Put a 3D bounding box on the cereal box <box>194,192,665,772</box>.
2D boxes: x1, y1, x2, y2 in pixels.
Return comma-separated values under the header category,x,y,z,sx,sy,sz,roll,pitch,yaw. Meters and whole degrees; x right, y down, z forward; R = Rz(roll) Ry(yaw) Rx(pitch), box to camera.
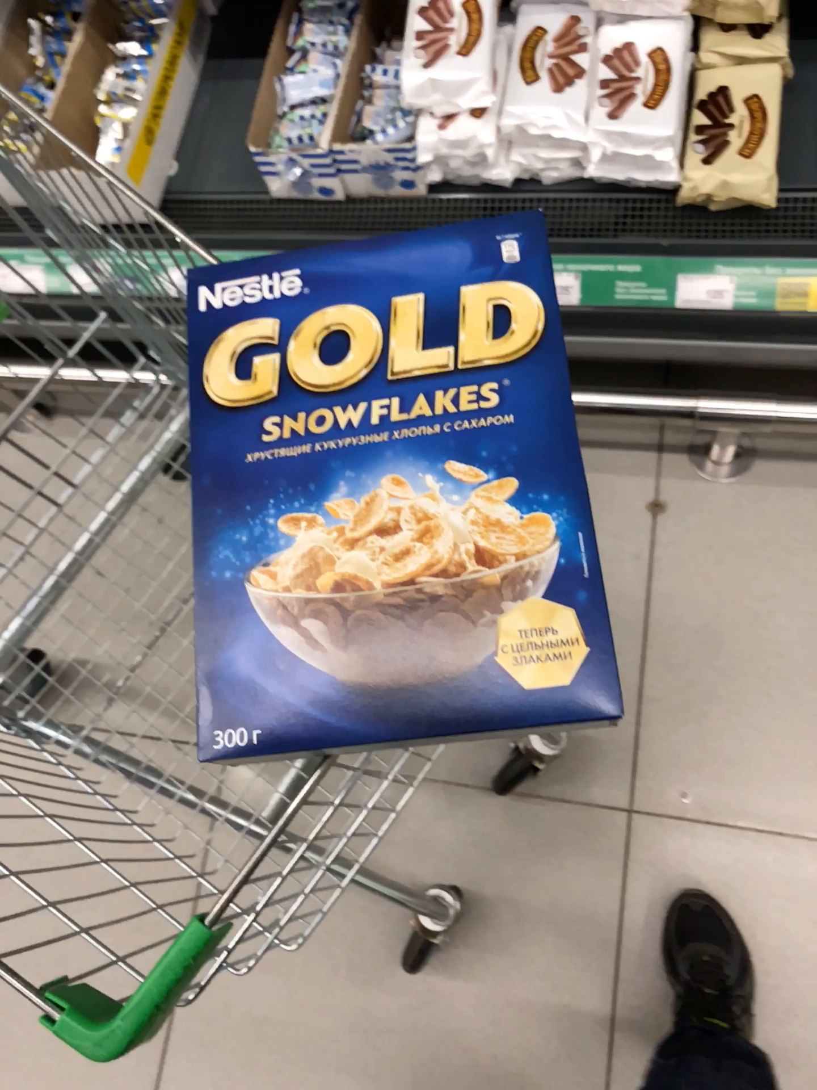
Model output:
category,x,y,z,sx,sy,sz,roll,pitch,yaw
cereal box,0.000,-0.036,0.454,0.200,0.050,0.270,-7,71,4
